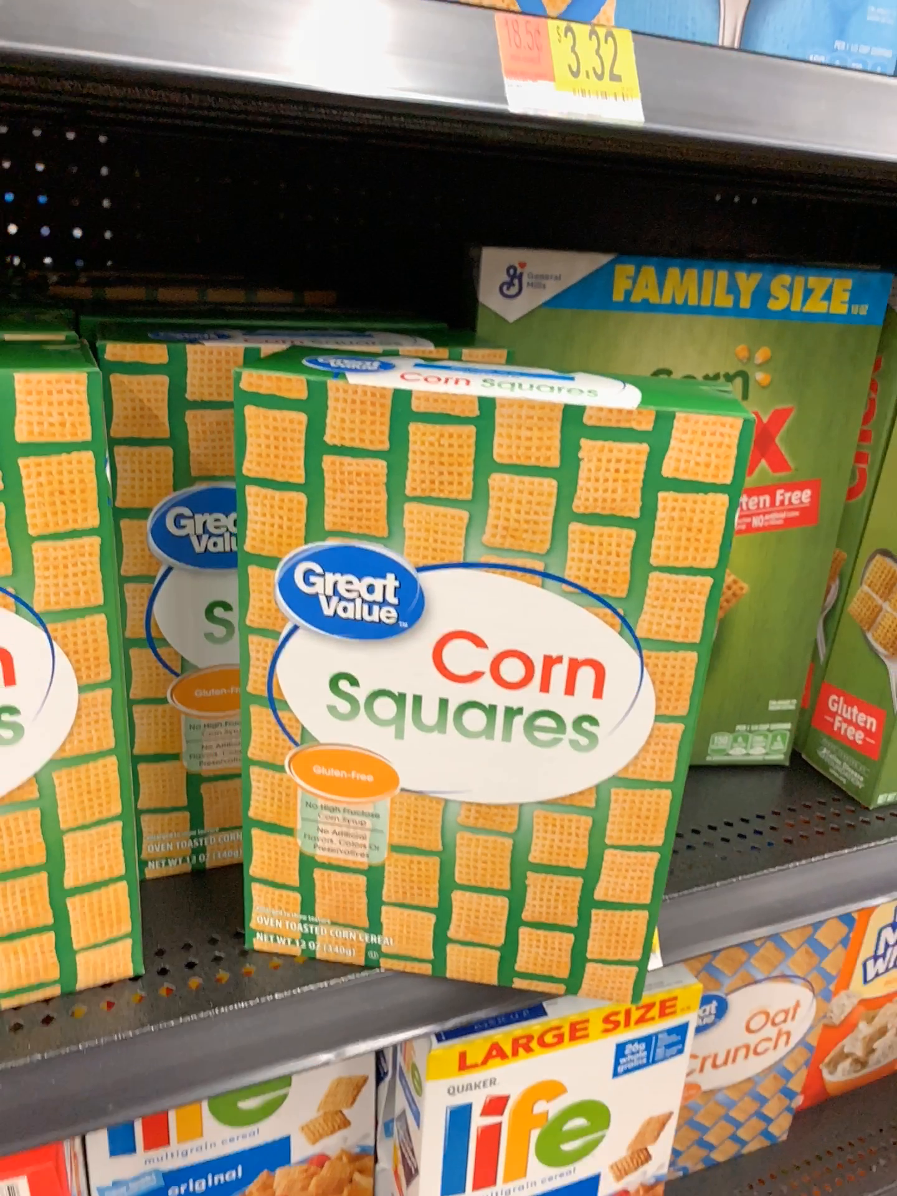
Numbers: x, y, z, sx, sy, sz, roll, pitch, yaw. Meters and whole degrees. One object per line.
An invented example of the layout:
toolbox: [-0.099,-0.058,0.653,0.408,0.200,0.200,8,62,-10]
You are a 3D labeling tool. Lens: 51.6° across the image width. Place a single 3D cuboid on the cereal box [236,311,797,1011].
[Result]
cereal box: [0.013,0.035,0.417,0.200,0.289,0.070,7,23,4]
